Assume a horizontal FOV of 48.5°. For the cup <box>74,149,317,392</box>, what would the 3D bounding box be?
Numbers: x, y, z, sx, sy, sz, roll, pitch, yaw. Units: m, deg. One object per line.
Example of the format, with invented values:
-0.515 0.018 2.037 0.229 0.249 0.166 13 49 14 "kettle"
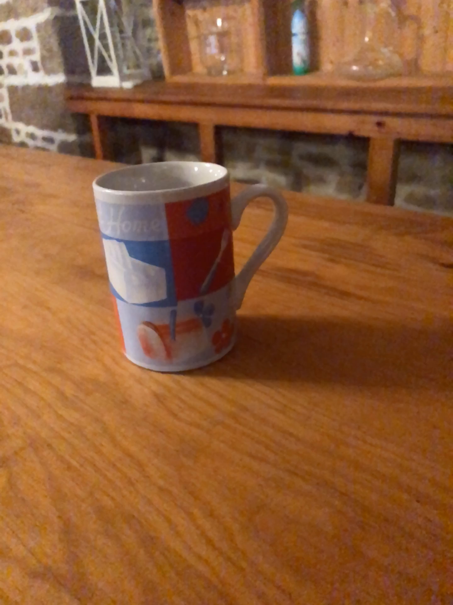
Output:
-0.019 -0.025 0.288 0.112 0.099 0.080 -11 28 -15 "cup"
